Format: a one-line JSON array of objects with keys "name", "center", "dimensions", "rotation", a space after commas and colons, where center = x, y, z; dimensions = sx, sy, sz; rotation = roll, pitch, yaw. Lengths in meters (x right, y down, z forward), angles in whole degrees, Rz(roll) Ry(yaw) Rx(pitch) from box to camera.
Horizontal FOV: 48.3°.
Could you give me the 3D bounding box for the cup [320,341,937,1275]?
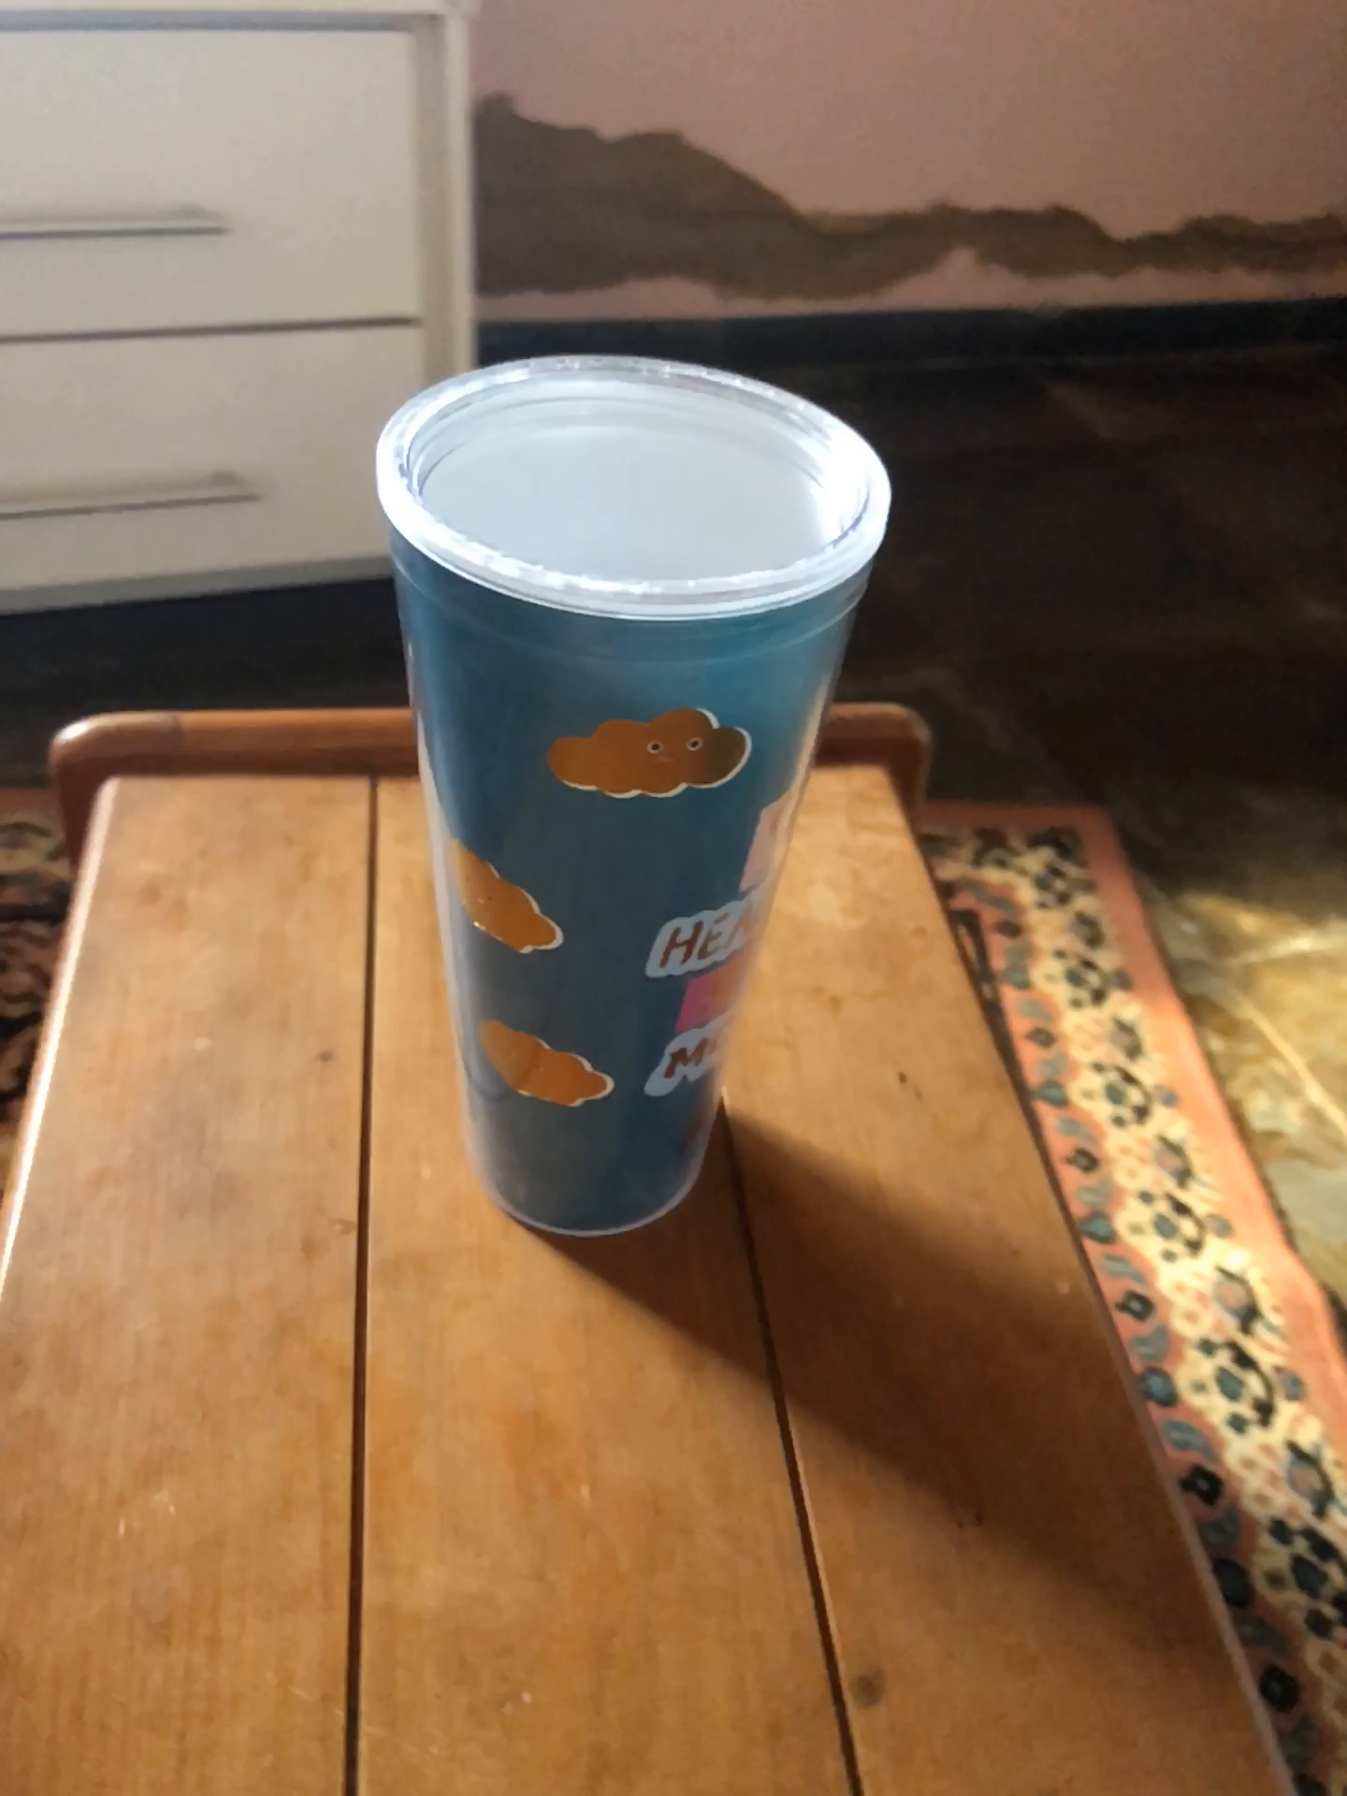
[{"name": "cup", "center": [-0.013, -0.013, 0.339], "dimensions": [0.100, 0.179, 0.101], "rotation": [3, 41, -3]}]
